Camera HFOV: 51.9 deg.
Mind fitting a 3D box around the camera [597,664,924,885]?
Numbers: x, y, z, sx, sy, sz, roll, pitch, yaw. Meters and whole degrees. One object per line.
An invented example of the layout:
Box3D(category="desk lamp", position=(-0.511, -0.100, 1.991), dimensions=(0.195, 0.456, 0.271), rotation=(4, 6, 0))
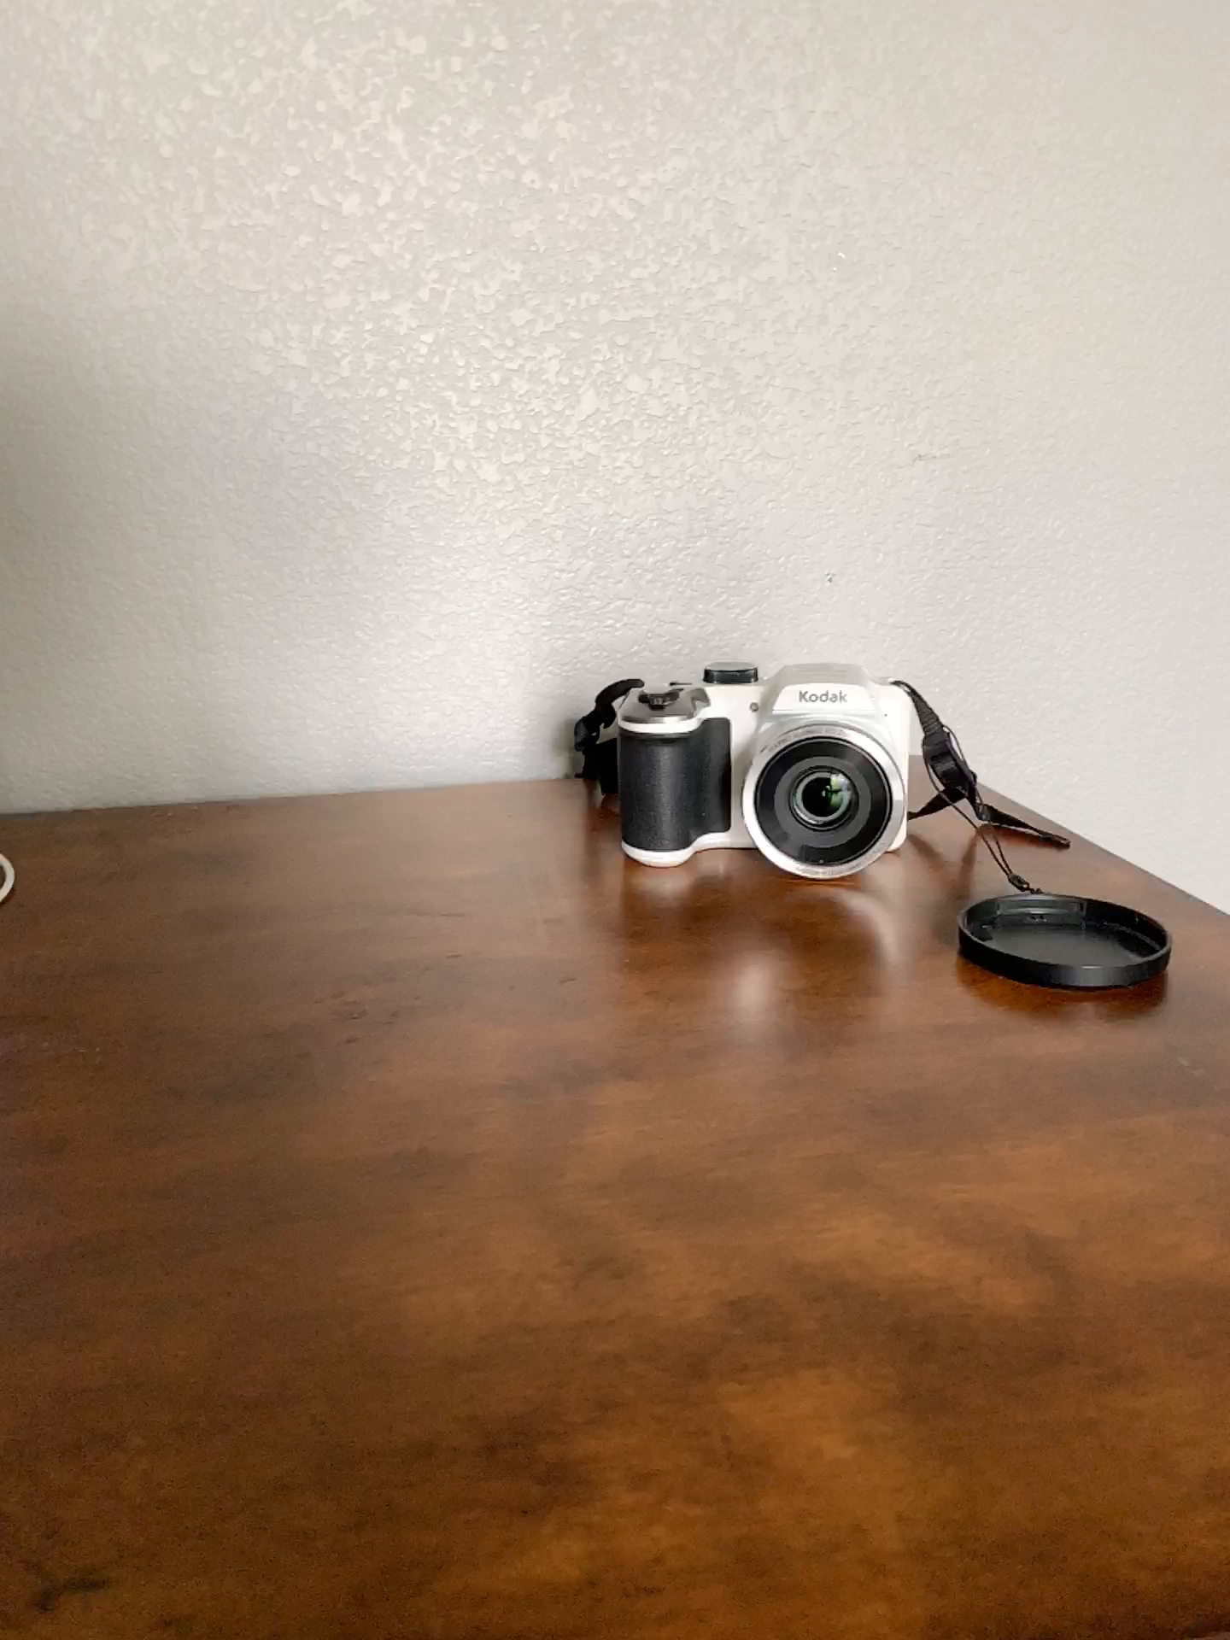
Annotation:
Box3D(category="camera", position=(0.061, -0.022, 0.510), dimensions=(0.119, 0.071, 0.070), rotation=(3, 15, 16))
